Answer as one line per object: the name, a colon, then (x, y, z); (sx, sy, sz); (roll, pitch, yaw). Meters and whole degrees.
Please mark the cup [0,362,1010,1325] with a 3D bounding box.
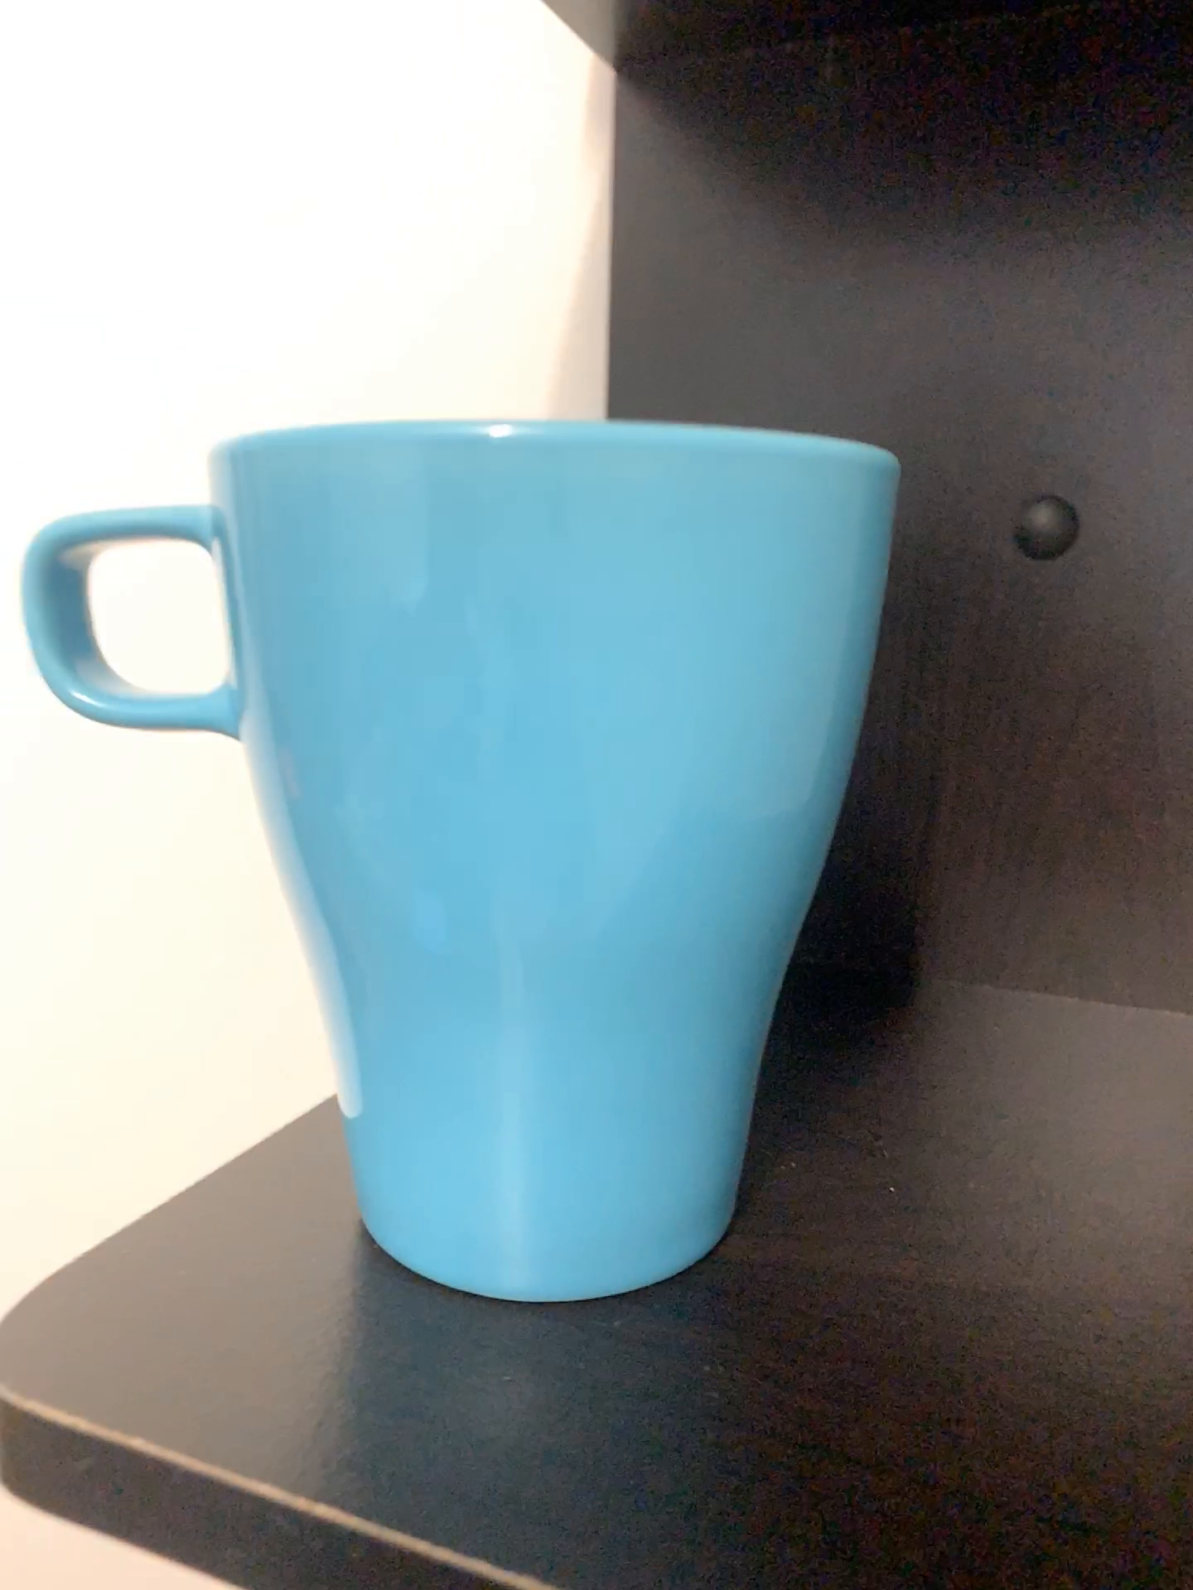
cup: (-0.020, 0.000, 0.162); (0.110, 0.090, 0.090); (1, 9, -2)
